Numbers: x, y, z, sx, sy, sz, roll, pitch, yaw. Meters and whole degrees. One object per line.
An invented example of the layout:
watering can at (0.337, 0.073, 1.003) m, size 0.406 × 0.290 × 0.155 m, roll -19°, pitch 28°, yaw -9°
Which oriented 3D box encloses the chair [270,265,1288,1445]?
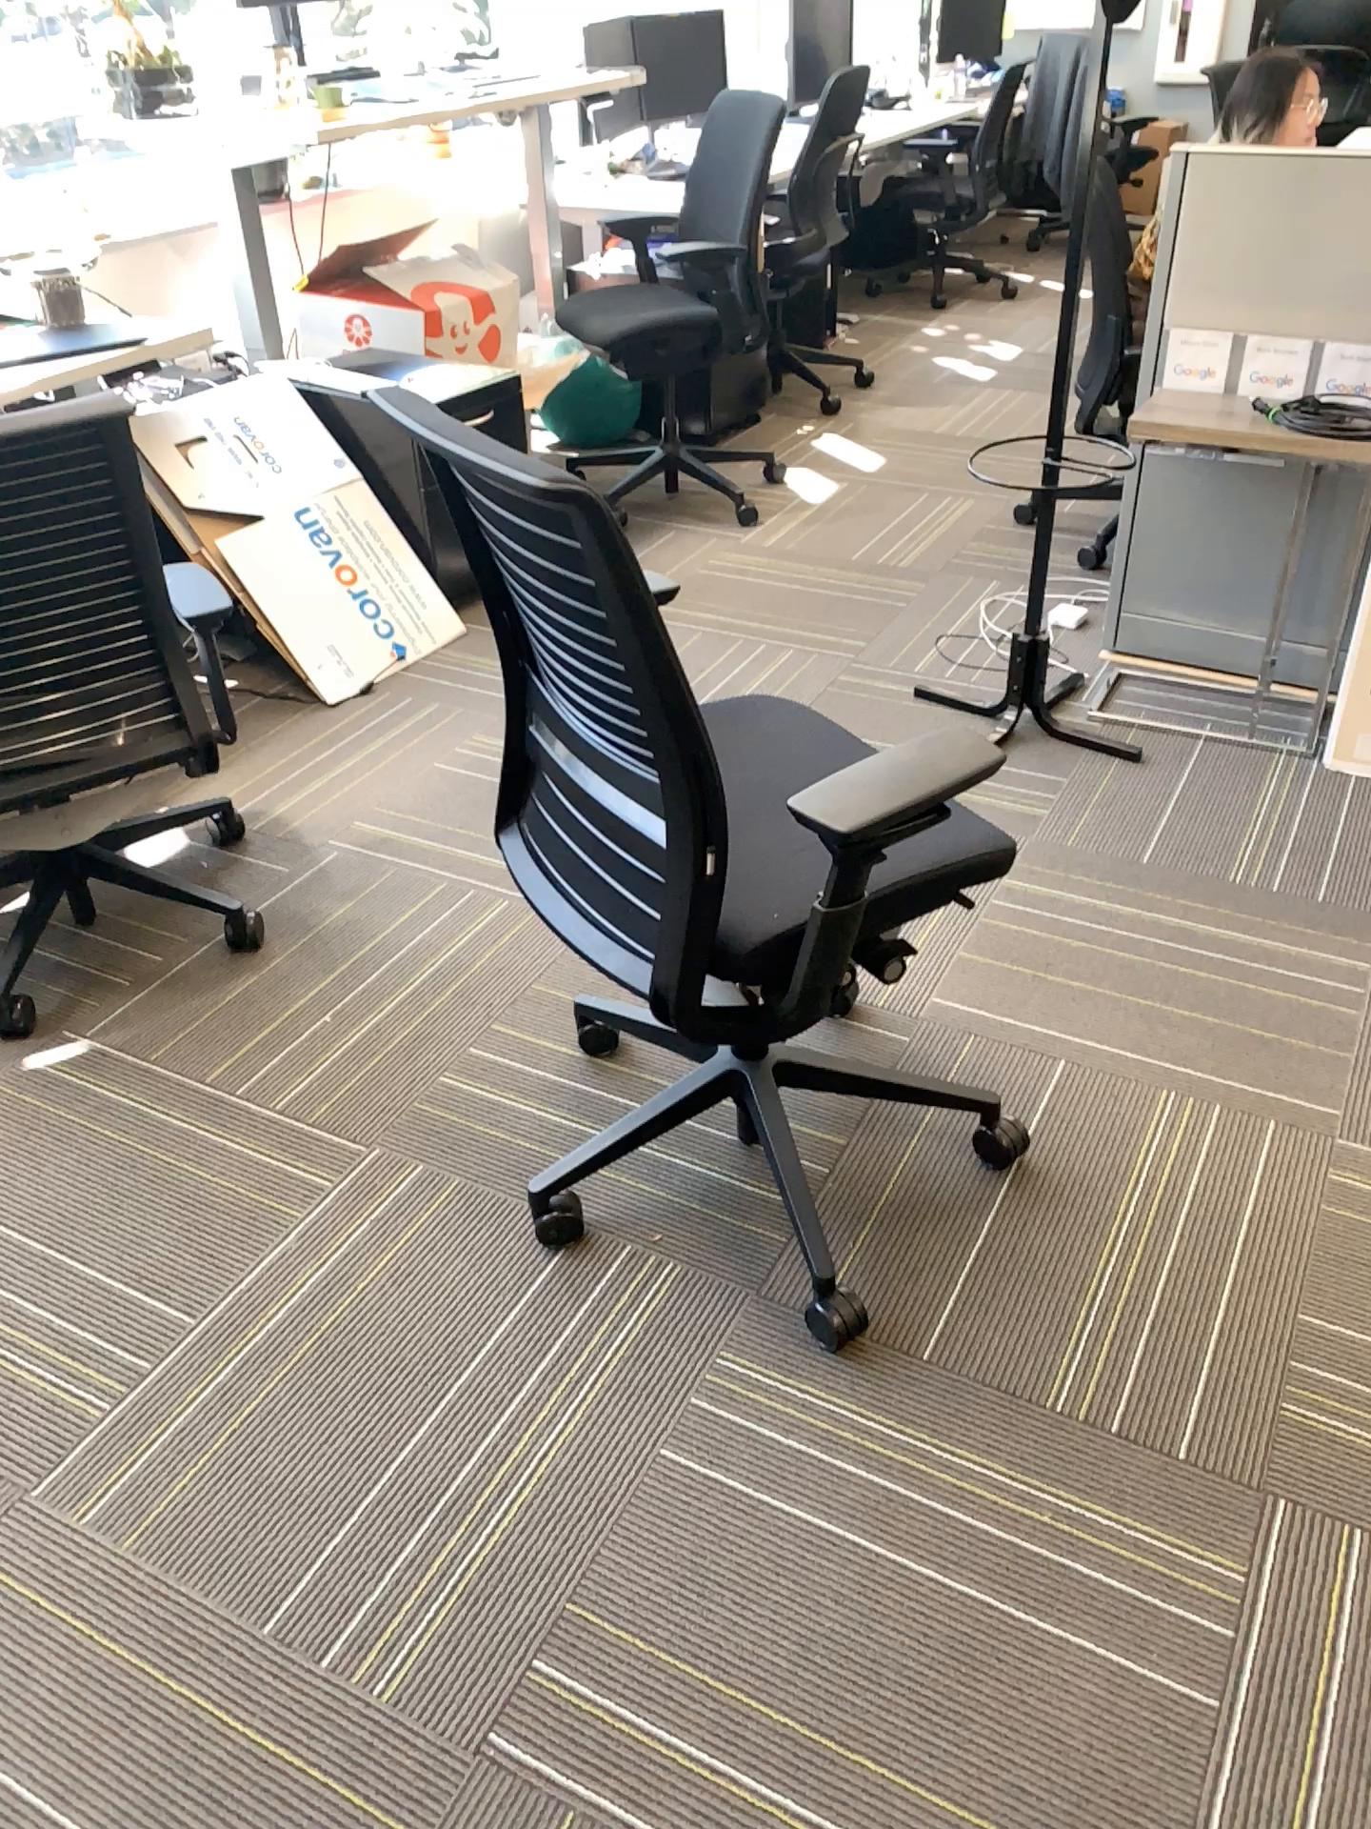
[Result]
chair at (0.064, -0.125, 1.641) m, size 0.671 × 0.994 × 0.754 m, roll -22°, pitch 39°, yaw -27°
